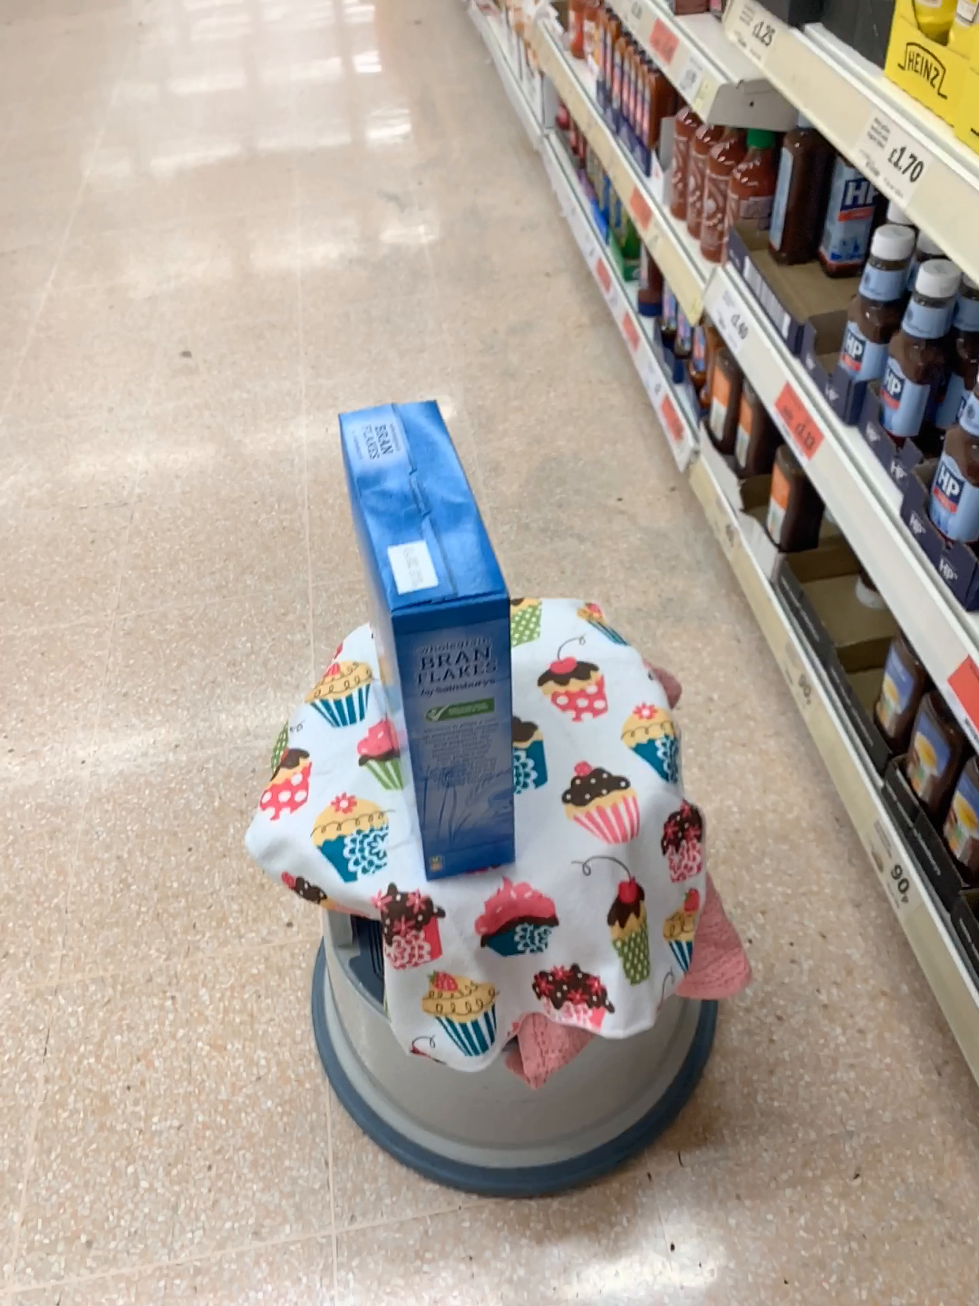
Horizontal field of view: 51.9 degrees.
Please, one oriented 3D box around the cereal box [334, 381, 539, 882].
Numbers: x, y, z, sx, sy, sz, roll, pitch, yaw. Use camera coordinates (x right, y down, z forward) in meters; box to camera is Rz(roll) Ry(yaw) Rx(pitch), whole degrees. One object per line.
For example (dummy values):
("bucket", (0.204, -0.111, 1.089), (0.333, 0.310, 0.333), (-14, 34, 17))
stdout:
("cereal box", (-0.034, -0.011, 0.687), (0.080, 0.258, 0.212), (-11, 46, -8))
